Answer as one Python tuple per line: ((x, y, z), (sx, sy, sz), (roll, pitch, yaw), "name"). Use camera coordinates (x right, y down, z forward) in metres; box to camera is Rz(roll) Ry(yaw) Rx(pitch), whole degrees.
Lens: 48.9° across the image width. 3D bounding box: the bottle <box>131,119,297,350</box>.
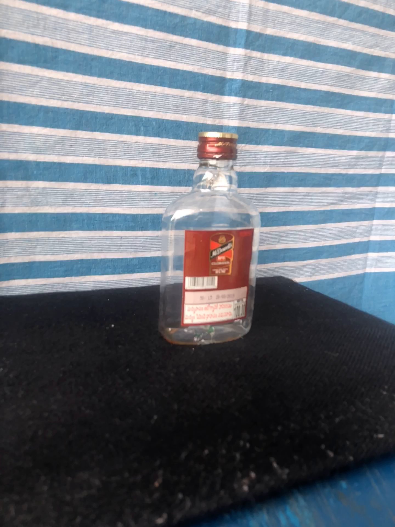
((0.008, -0.018, 0.274), (0.080, 0.130, 0.040), (-1, 16, -27), "bottle")
